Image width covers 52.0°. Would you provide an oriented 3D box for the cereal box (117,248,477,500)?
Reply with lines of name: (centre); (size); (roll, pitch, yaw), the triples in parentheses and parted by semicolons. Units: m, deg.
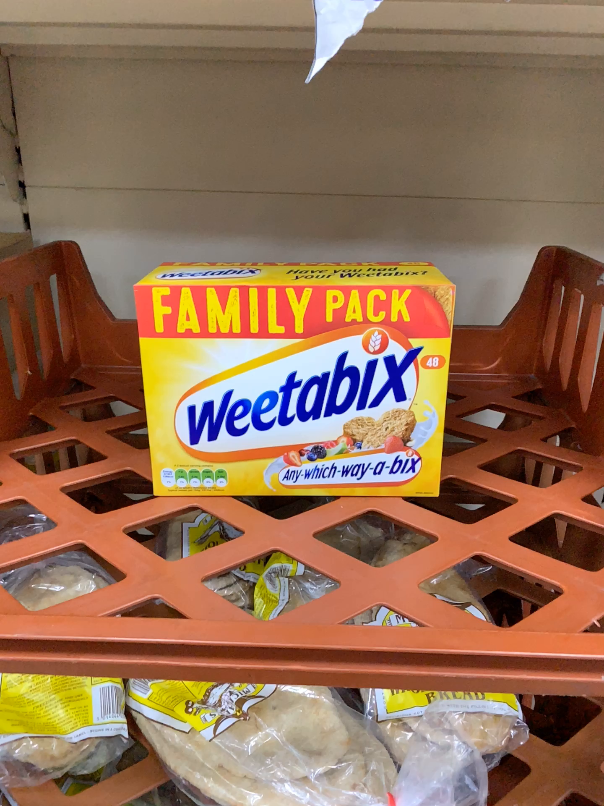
cereal box: (-0.005, -0.027, 0.528); (0.260, 0.188, 0.101); (0, 22, -1)
